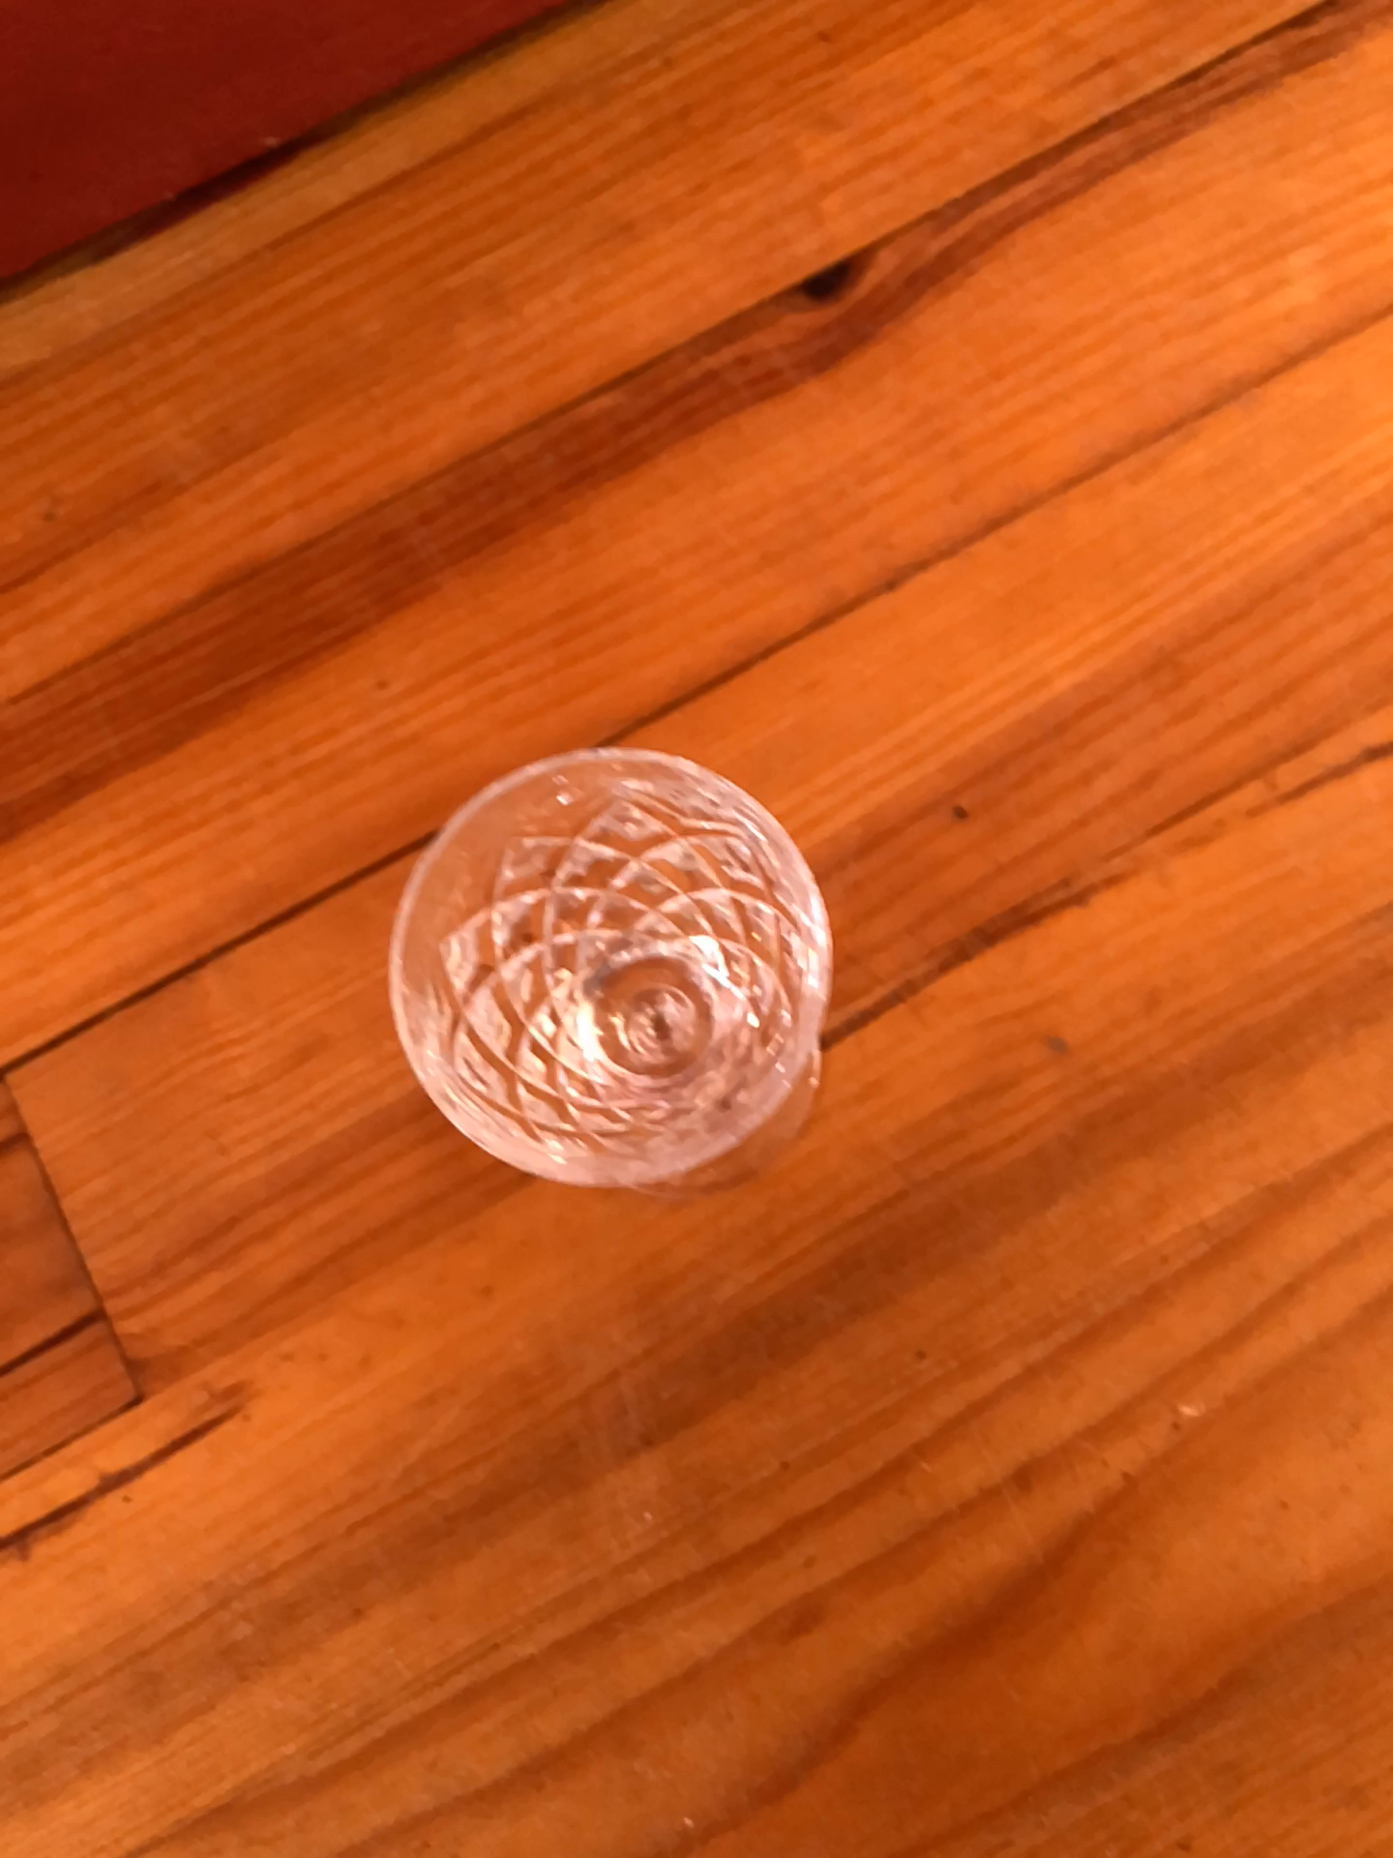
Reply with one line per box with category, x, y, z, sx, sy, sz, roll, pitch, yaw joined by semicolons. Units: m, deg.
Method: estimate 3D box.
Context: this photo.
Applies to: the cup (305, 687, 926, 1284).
cup;-0.005;0.017;0.245;0.059;0.113;0.056;-1;78;5
